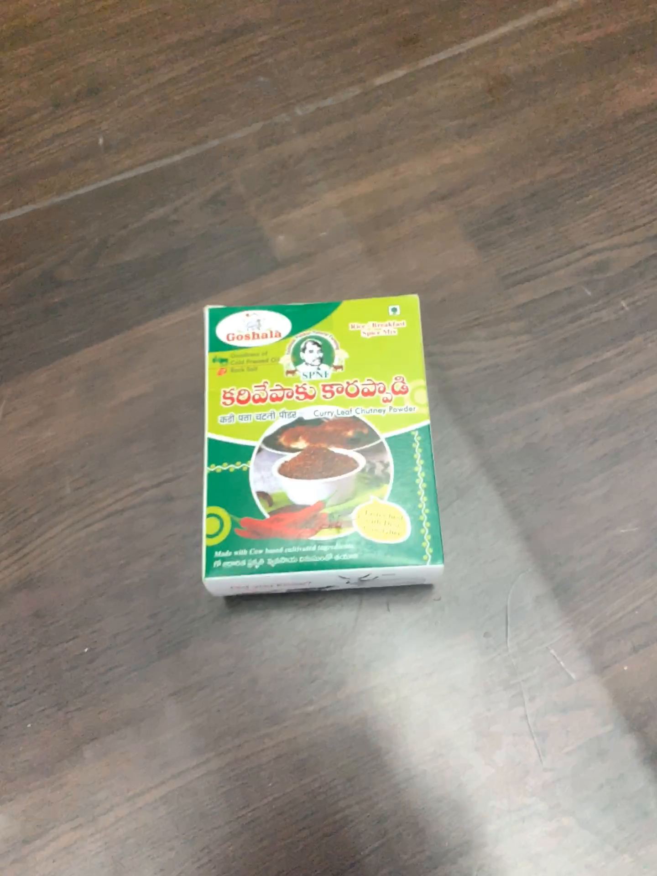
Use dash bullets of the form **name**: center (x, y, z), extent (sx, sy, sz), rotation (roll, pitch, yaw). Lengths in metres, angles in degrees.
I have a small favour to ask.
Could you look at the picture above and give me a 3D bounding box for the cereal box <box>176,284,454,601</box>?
- **cereal box**: center (-0.007, 0.002, 0.285), extent (0.100, 0.040, 0.120), rotation (-4, 69, 2)
